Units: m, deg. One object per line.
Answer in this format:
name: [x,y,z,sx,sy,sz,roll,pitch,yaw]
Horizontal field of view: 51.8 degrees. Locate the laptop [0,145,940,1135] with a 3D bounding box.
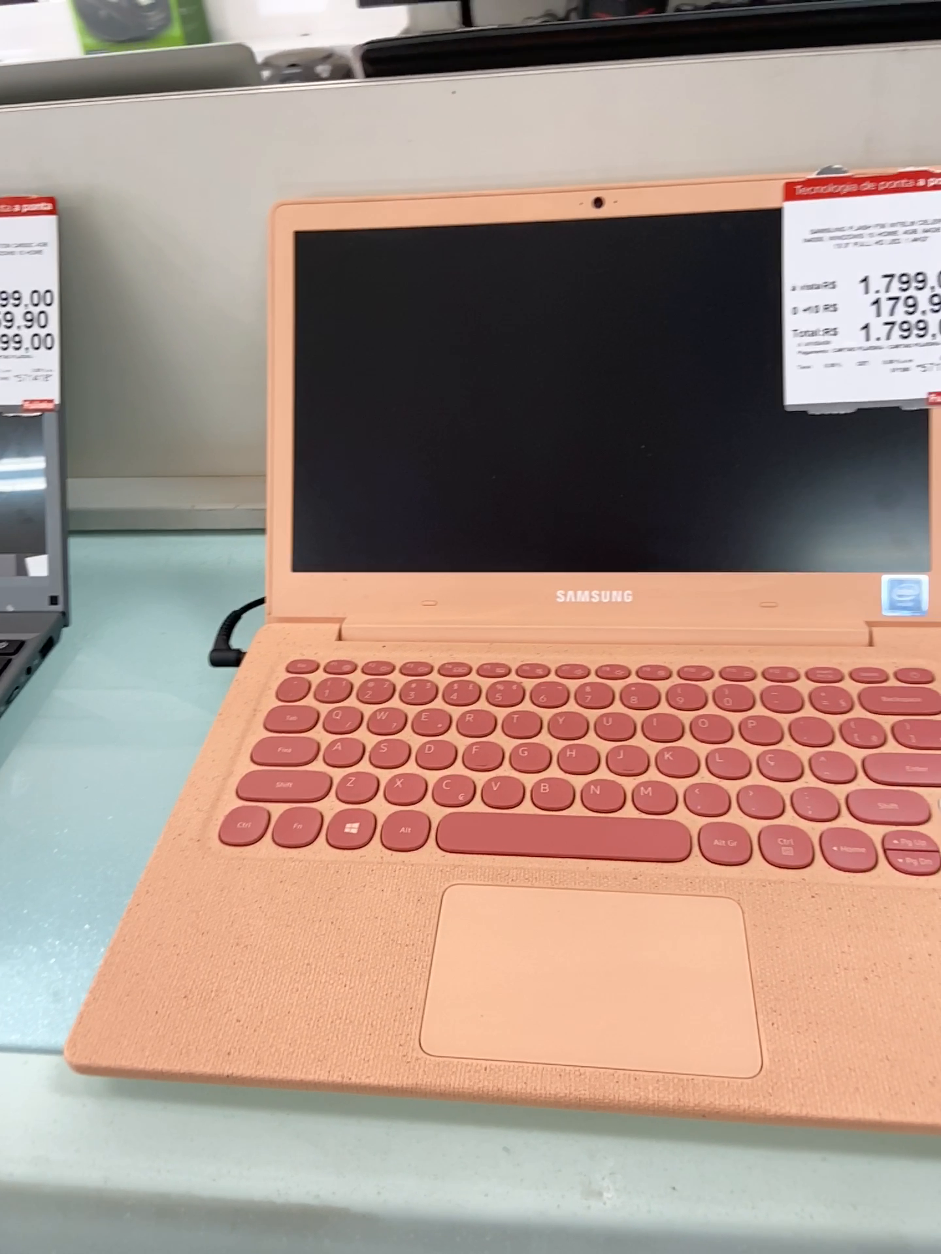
laptop: [0.050,-0.041,0.373,0.329,0.160,0.361,0,39,9]
